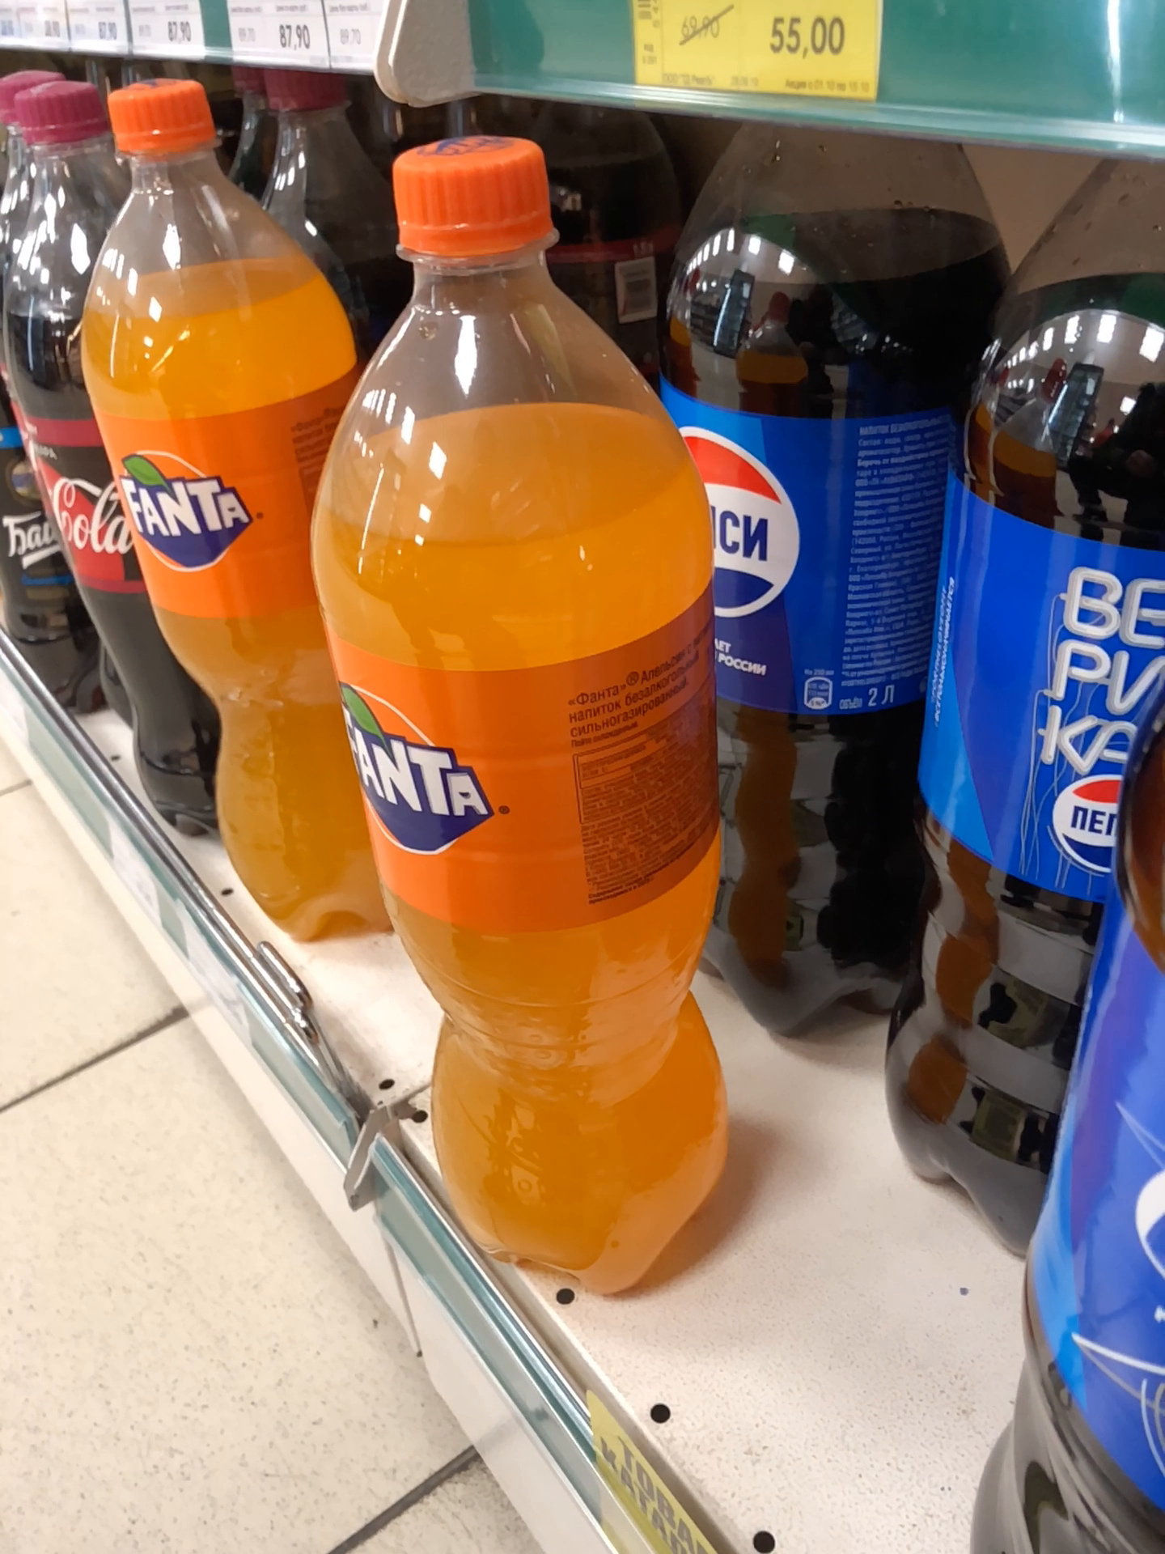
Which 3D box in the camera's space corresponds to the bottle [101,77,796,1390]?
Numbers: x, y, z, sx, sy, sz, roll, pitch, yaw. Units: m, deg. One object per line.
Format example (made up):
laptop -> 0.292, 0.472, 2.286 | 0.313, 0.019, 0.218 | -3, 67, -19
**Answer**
bottle -> -0.015, 0.005, 0.327 | 0.090, 0.308, 0.100 | -28, 40, -29
